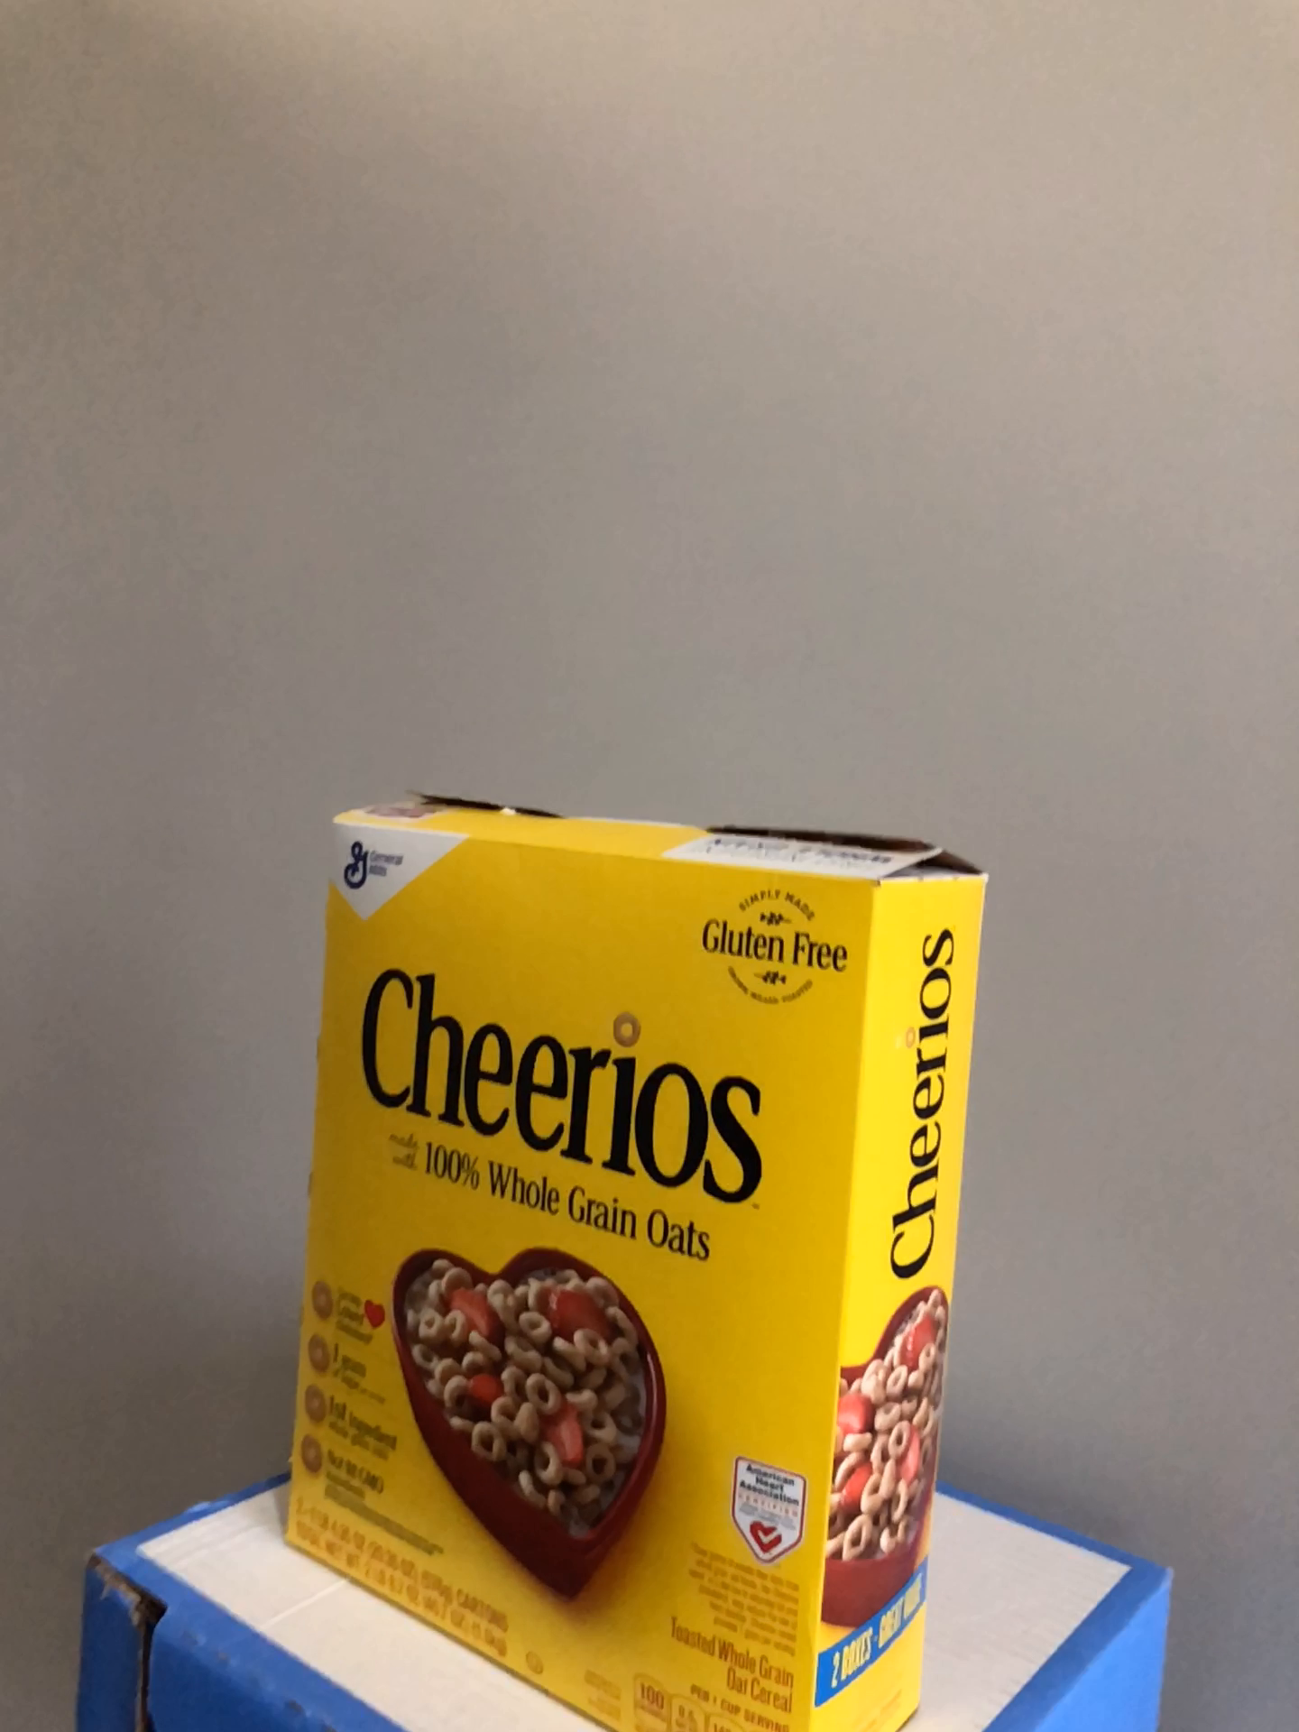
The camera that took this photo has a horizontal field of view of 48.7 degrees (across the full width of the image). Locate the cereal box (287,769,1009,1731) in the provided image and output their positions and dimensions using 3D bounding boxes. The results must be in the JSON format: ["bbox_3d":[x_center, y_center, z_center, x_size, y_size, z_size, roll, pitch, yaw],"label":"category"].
[{"bbox_3d":[-0.012,0.127,0.526,0.240,0.310,0.090,6,3,38],"label":"cereal box"}]
